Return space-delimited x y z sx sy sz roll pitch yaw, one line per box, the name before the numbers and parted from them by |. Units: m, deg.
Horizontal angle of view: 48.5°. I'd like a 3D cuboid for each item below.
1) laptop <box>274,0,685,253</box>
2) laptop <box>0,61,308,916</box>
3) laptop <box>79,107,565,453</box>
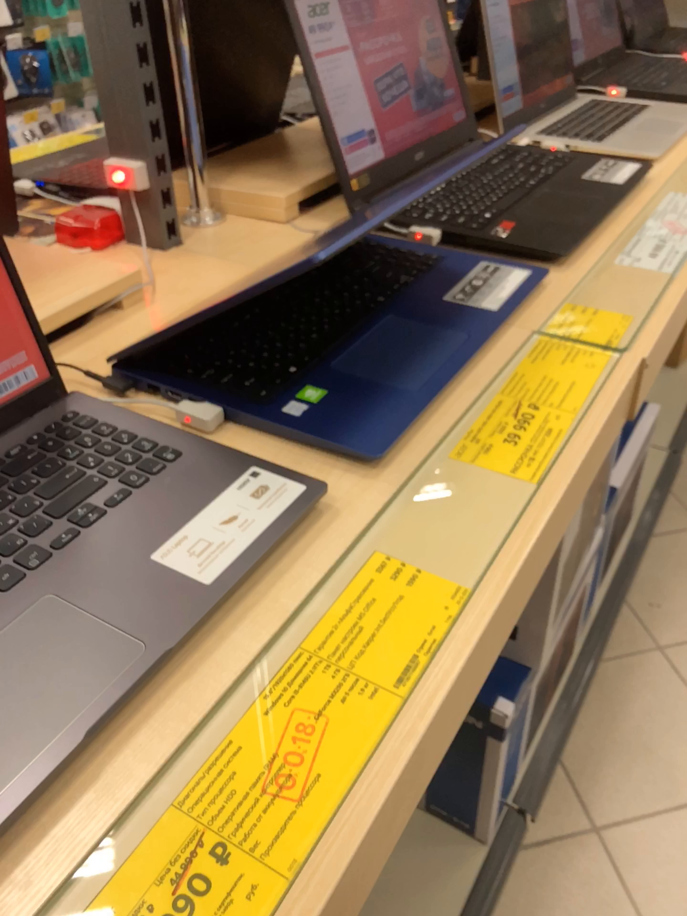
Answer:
laptop | 0.169 -0.461 0.934 0.354 0.227 0.359 21 42 26
laptop | -0.251 -0.018 0.348 0.302 0.206 0.391 20 40 23
laptop | 0.008 -0.188 0.666 0.246 0.126 0.368 19 41 25
